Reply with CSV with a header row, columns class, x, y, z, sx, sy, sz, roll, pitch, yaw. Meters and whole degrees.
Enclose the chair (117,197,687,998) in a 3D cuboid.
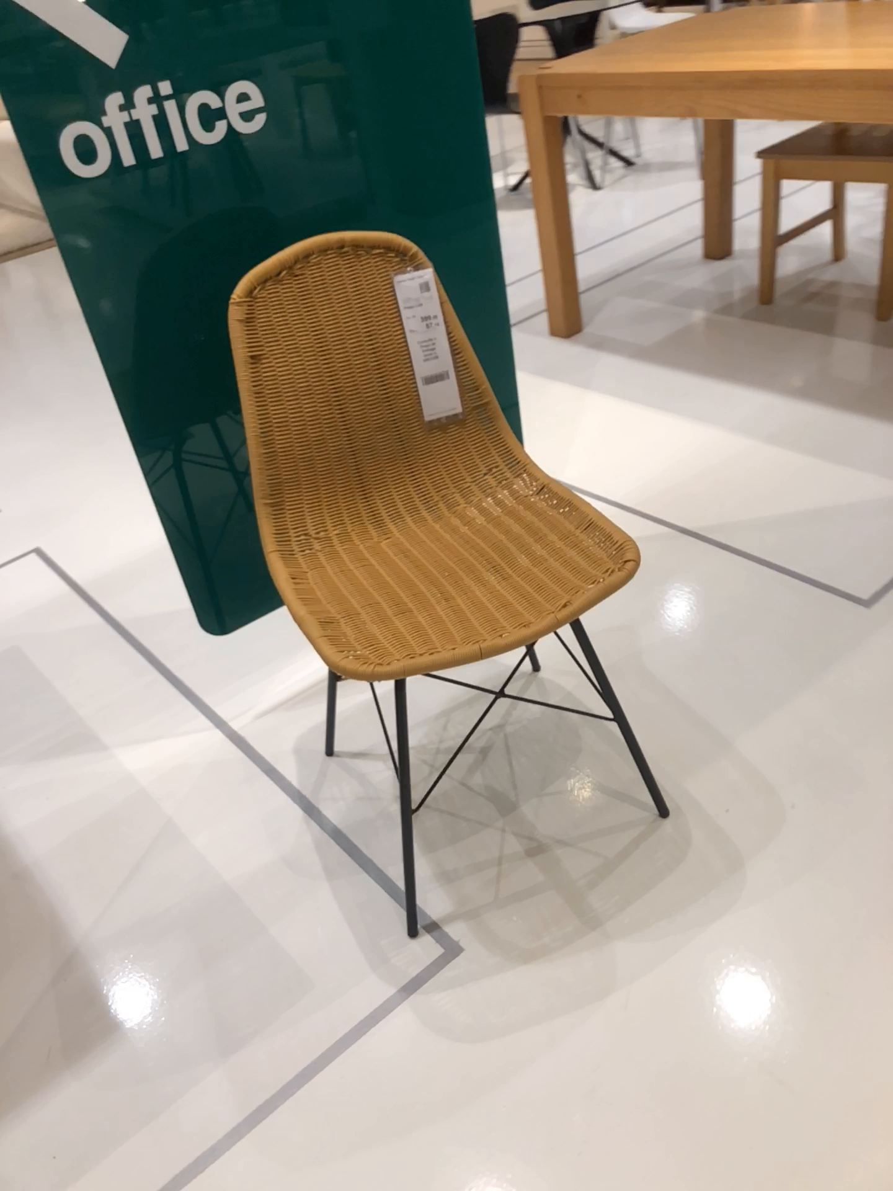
class,x,y,z,sx,sy,sz,roll,pitch,yaw
chair,-0.040,-0.017,1.406,0.491,0.863,0.574,-21,35,-15
